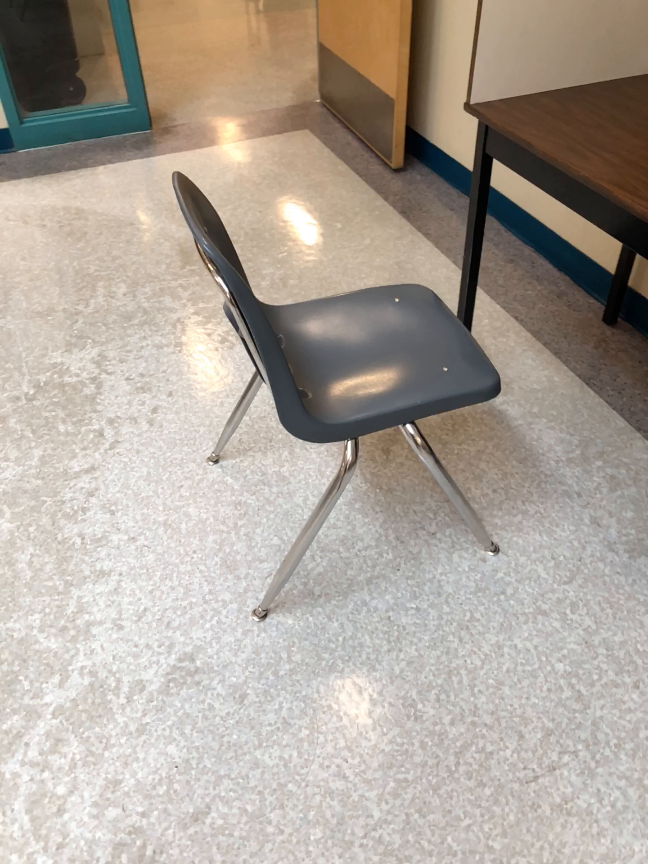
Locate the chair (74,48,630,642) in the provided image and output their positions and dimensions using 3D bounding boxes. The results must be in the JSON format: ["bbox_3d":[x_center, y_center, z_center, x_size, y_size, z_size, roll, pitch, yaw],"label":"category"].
[{"bbox_3d":[-0.014,-0.163,1.210,0.610,0.695,0.594,-12,44,-11],"label":"chair"}]
